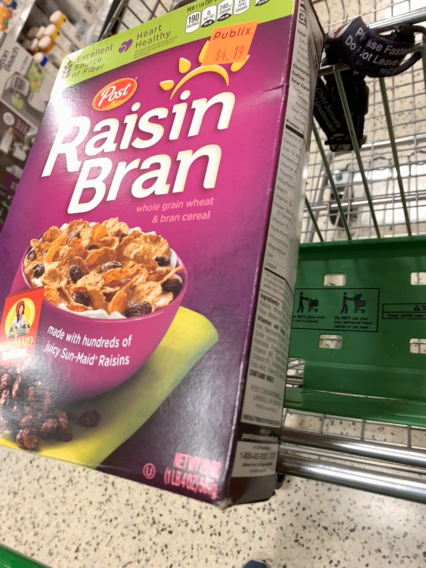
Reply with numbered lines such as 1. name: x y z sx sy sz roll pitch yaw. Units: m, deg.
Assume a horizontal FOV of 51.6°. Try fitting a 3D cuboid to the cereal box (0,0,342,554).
1. cereal box: -0.048 -0.035 0.261 0.211 0.060 0.281 -1 69 31
